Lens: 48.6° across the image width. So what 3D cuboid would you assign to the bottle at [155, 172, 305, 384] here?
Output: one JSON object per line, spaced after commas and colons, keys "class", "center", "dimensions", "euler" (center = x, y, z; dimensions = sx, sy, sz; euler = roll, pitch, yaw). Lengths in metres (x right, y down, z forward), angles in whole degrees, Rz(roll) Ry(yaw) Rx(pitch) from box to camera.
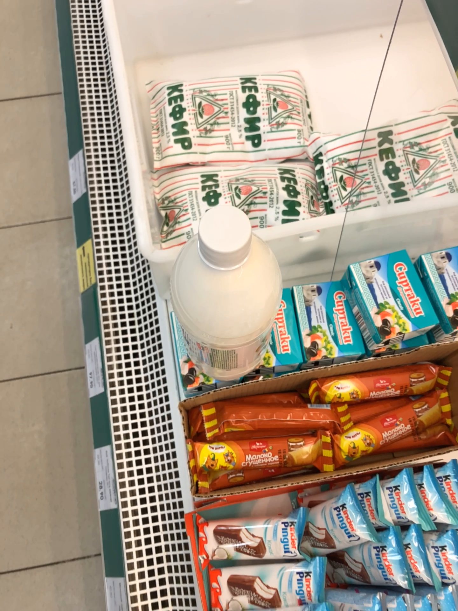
{"class": "bottle", "center": [-0.001, 0.000, 0.399], "dimensions": [0.079, 0.251, 0.077], "euler": [0, 71, 0]}
